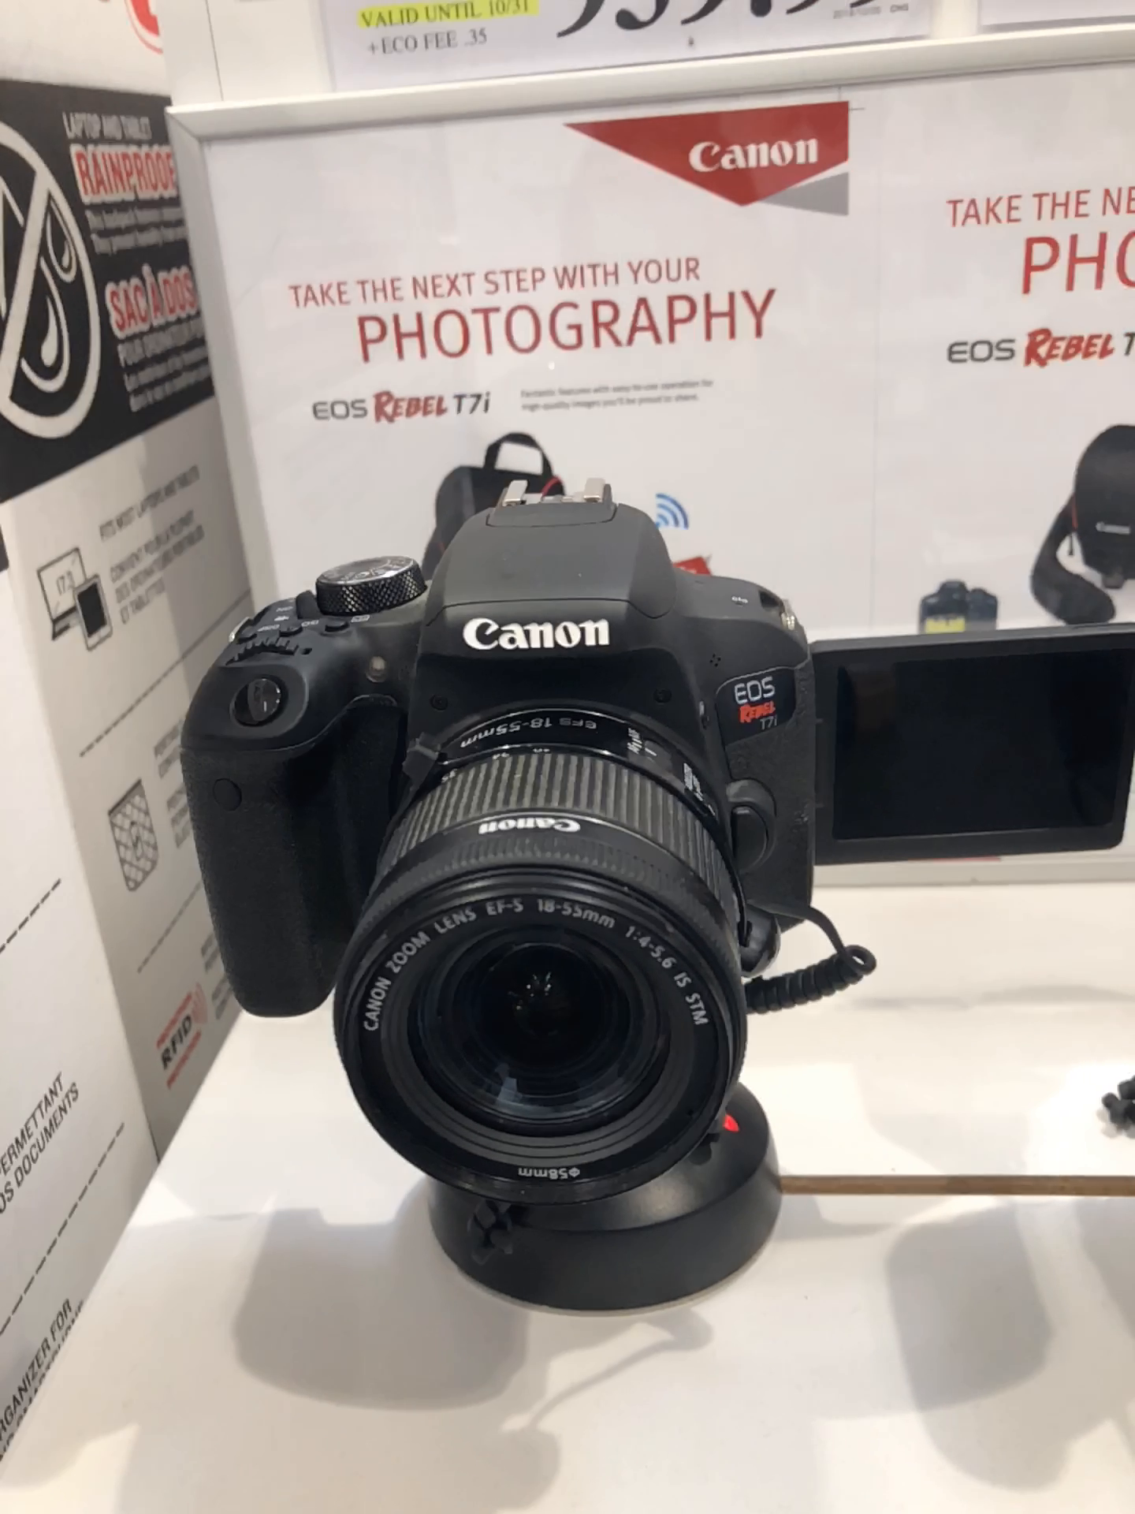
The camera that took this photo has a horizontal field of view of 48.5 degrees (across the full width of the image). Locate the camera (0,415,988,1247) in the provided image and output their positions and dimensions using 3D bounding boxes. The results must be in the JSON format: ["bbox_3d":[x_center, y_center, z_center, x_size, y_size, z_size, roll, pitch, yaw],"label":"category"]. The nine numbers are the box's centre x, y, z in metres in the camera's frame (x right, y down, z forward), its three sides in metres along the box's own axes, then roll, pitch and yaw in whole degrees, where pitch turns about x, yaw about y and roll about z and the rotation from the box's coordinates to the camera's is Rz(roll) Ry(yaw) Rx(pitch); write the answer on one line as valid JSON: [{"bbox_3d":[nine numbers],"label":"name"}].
[{"bbox_3d":[-0.010,0.001,0.249,0.140,0.099,0.151,-2,25,5],"label":"camera"}]
